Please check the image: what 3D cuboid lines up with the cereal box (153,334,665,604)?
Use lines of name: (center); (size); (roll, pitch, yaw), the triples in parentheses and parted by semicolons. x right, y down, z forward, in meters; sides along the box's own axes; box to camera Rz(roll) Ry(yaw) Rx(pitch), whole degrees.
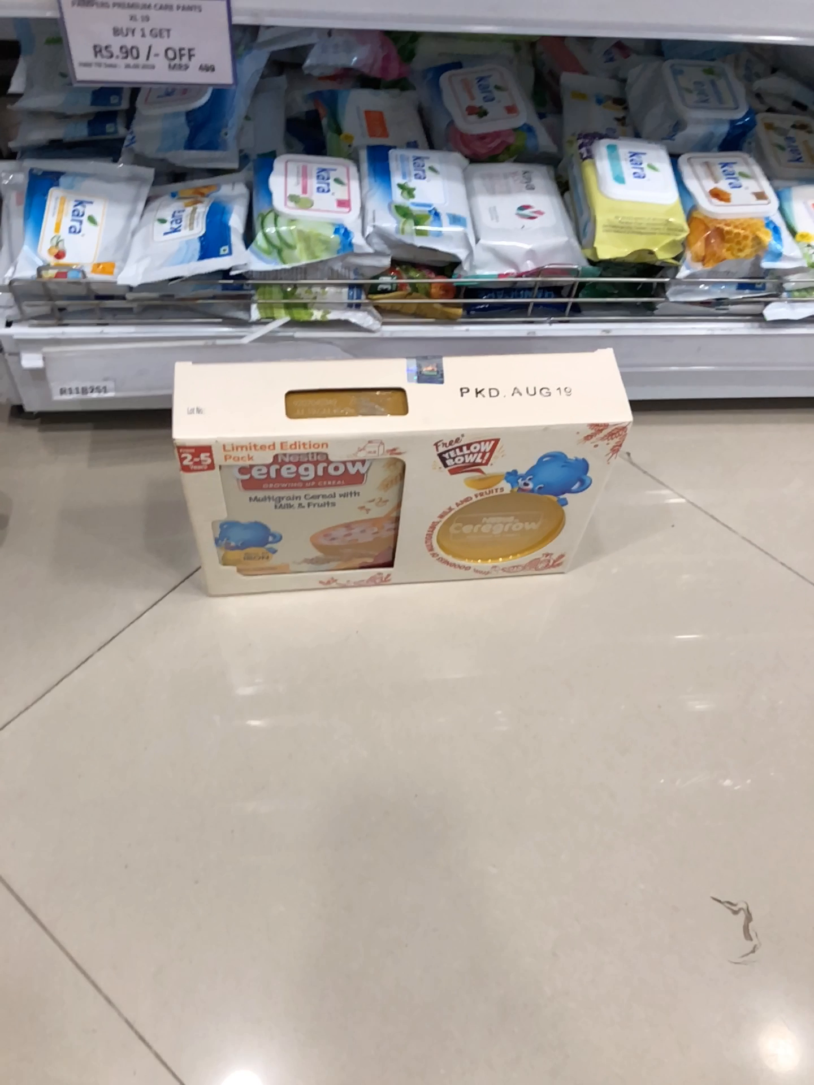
cereal box: (-0.005, -0.046, 0.644); (0.310, 0.209, 0.070); (-3, 58, -7)
